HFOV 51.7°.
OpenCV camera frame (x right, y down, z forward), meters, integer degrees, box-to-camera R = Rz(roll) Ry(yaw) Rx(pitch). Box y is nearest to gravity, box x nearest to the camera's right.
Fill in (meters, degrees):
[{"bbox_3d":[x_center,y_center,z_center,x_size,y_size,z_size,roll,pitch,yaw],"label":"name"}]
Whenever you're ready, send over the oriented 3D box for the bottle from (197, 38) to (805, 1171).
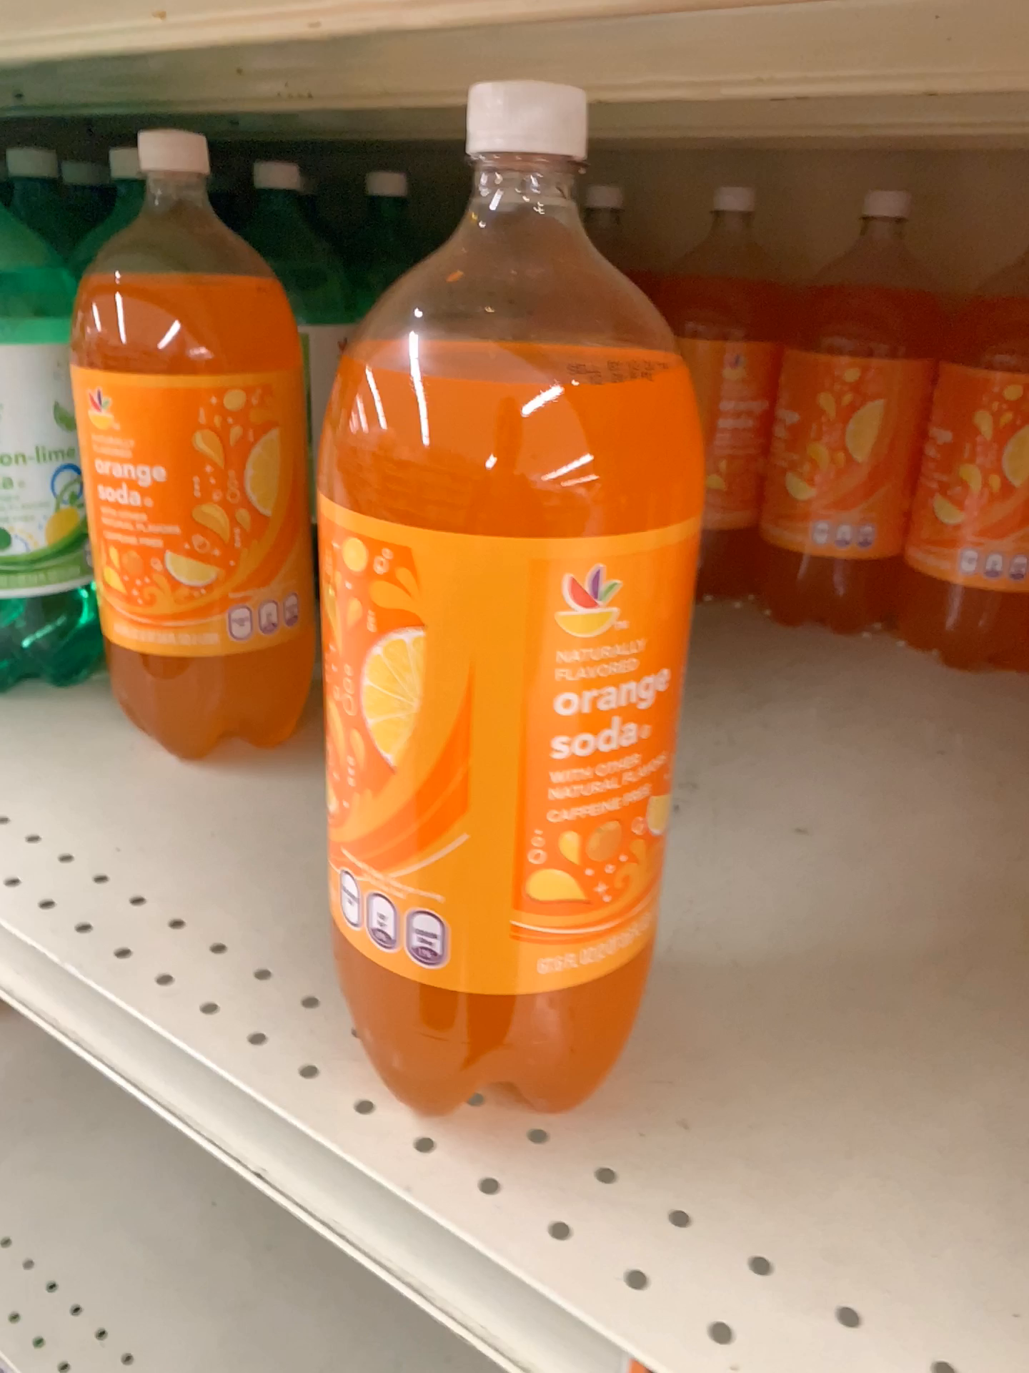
[{"bbox_3d":[-0.002,-0.015,0.315,0.120,0.289,0.111,2,24,-1],"label":"bottle"}]
